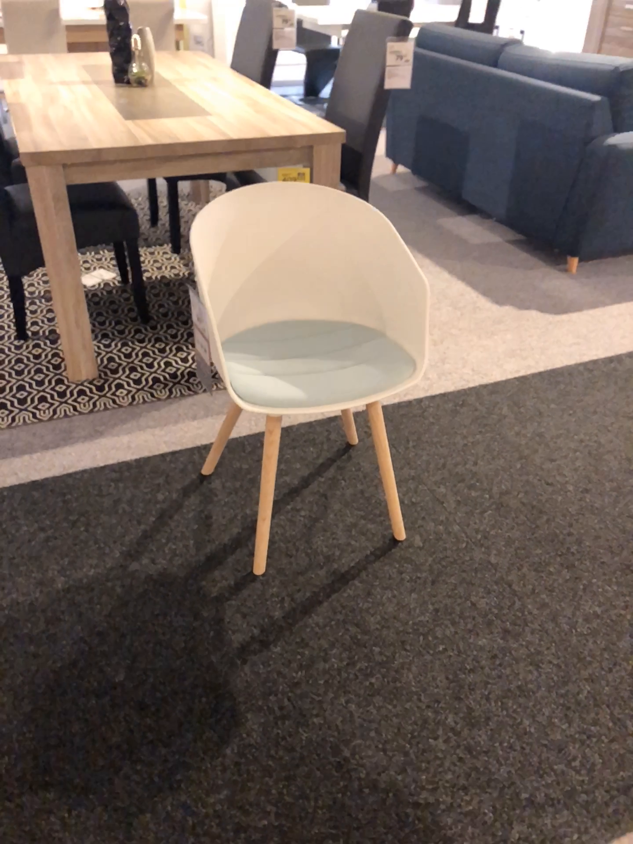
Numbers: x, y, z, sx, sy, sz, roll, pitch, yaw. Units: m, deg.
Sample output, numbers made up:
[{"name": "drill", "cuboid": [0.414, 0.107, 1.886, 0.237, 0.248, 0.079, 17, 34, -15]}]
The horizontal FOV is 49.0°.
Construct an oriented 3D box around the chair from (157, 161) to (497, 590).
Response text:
[{"name": "chair", "cuboid": [-0.022, -0.137, 1.666, 0.551, 0.765, 0.582, -10, 36, -16]}]
